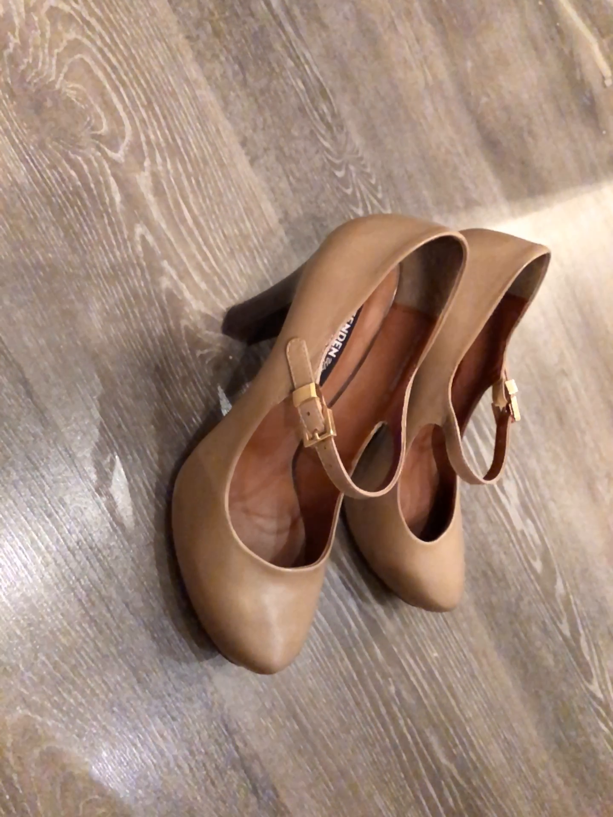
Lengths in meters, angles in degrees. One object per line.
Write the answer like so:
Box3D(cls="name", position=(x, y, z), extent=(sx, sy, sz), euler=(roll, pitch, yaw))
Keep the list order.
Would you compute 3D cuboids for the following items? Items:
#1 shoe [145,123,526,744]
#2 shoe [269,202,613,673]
Box3D(cls="shoe", position=(0.006, 0.017, 0.321), extent=(0.090, 0.149, 0.220), euler=(11, 73, -36))
Box3D(cls="shoe", position=(0.089, 0.018, 0.385), extent=(0.091, 0.159, 0.210), euler=(-17, 91, -39))
